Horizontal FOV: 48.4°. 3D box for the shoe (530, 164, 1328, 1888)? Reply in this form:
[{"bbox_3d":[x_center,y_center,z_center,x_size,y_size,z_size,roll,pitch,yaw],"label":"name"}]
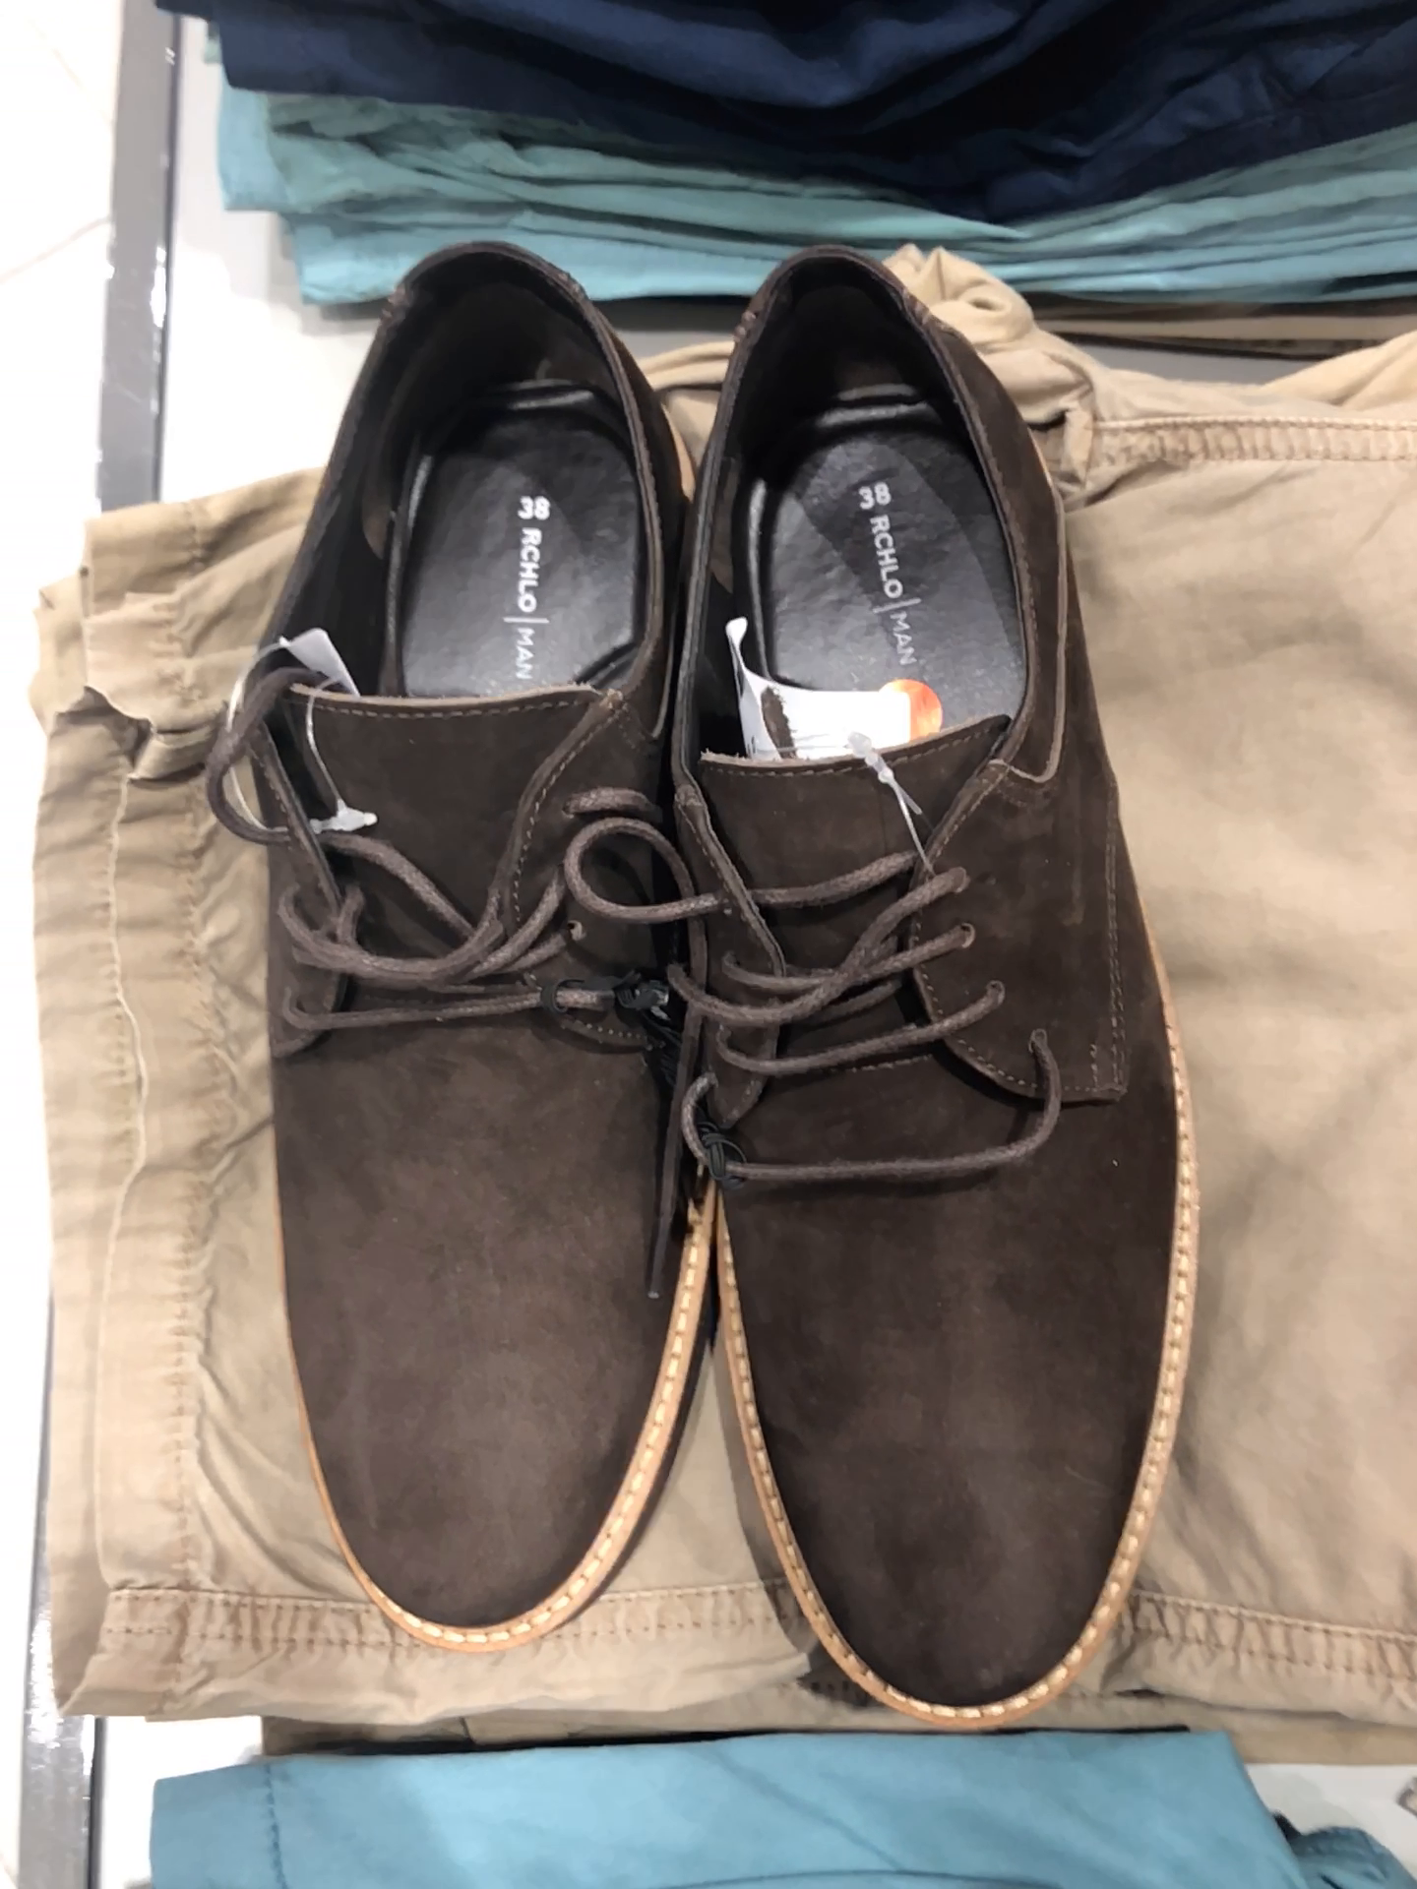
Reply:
[{"bbox_3d":[0.038,0.019,0.288,0.100,0.110,0.260,-5,82,13],"label":"shoe"}]

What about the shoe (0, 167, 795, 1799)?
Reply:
[{"bbox_3d":[-0.050,0.003,0.313,0.110,0.110,0.260,3,86,9],"label":"shoe"}]
